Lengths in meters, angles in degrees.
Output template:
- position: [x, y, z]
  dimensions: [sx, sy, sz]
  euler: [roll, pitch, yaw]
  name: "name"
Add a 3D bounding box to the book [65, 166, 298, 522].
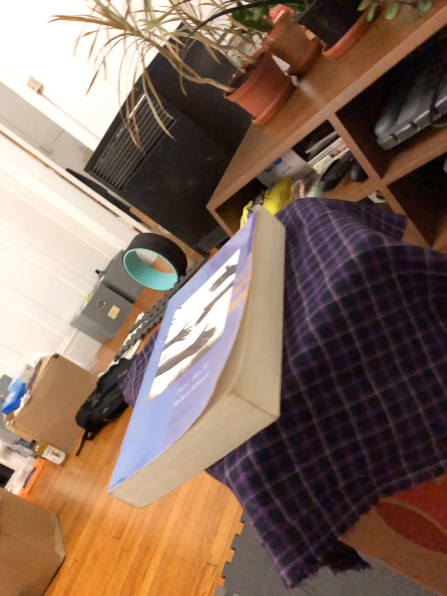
- position: [-0.023, 0.024, 0.417]
  dimensions: [0.200, 0.040, 0.261]
  euler: [-42, 21, 33]
  name: "book"
